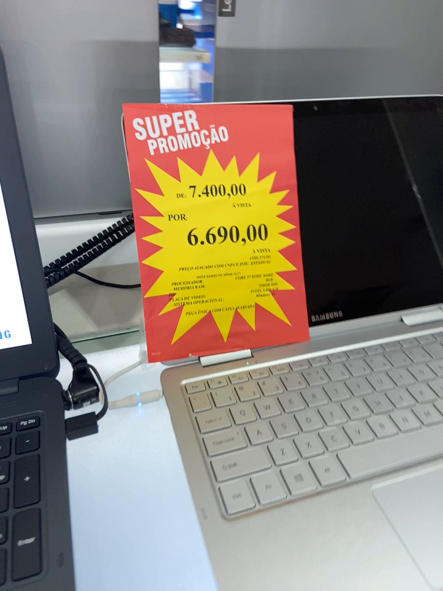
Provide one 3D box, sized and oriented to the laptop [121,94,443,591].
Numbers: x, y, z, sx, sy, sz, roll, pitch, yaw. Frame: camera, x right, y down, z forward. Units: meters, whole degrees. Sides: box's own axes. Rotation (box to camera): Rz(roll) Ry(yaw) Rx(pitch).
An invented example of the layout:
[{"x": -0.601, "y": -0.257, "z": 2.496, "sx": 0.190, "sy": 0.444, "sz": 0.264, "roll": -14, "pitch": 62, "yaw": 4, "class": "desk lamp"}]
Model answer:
[{"x": 0.114, "y": -0.012, "z": 0.317, "sx": 0.305, "sy": 0.170, "sz": 0.311, "roll": -9, "pitch": 36, "yaw": -15, "class": "laptop"}]
